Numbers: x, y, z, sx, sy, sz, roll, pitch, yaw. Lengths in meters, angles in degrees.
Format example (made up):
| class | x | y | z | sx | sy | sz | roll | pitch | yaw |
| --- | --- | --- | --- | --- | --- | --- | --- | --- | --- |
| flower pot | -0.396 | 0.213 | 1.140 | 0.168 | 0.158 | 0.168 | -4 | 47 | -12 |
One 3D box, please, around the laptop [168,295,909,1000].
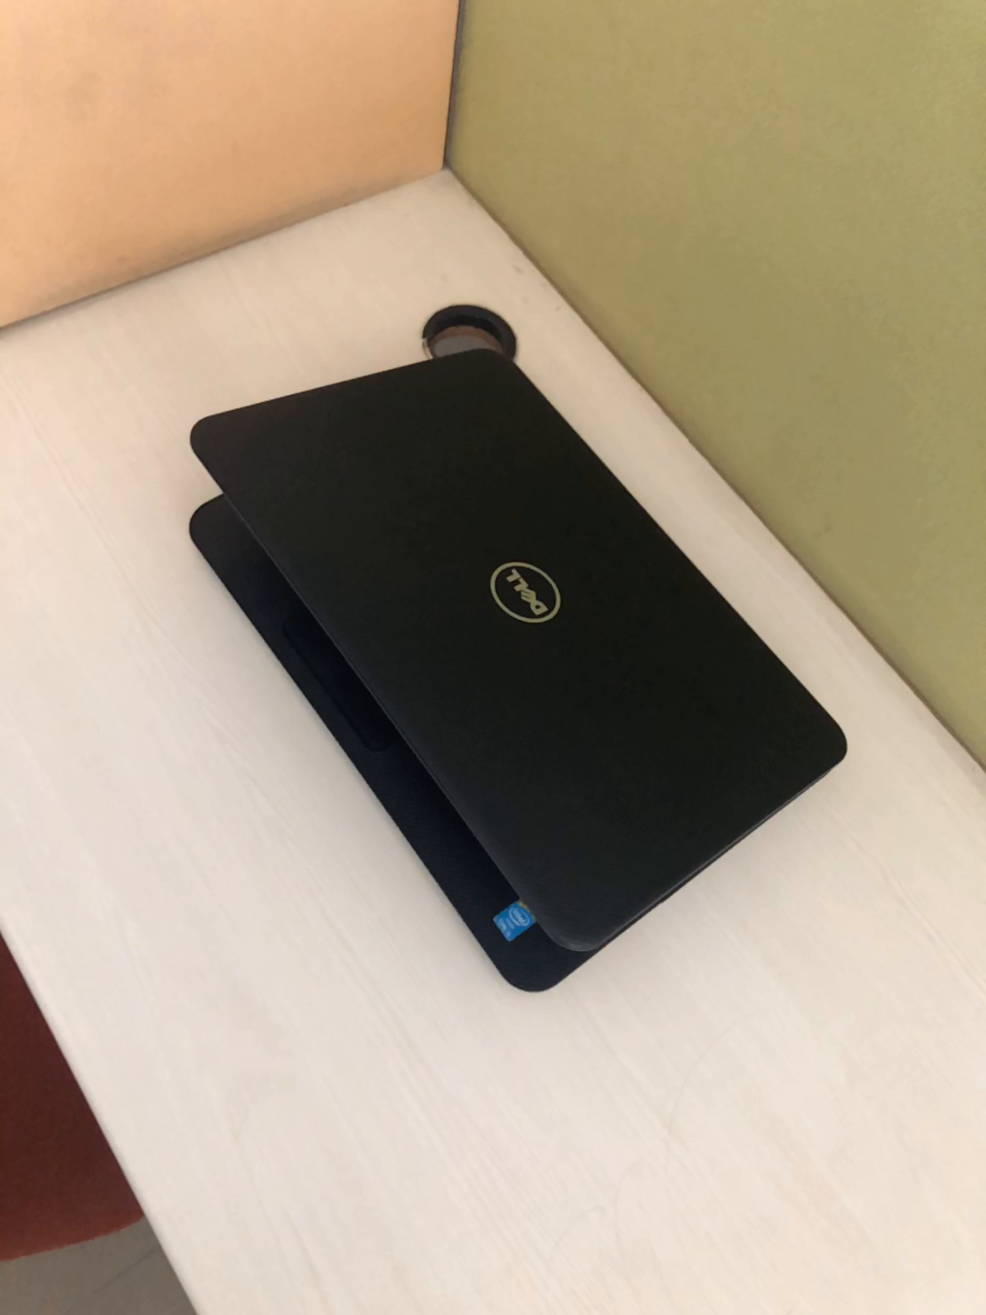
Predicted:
| class | x | y | z | sx | sy | sz | roll | pitch | yaw |
| --- | --- | --- | --- | --- | --- | --- | --- | --- | --- |
| laptop | 0.017 | -0.026 | 0.640 | 0.247 | 0.079 | 0.354 | -32 | 71 | -21 |
